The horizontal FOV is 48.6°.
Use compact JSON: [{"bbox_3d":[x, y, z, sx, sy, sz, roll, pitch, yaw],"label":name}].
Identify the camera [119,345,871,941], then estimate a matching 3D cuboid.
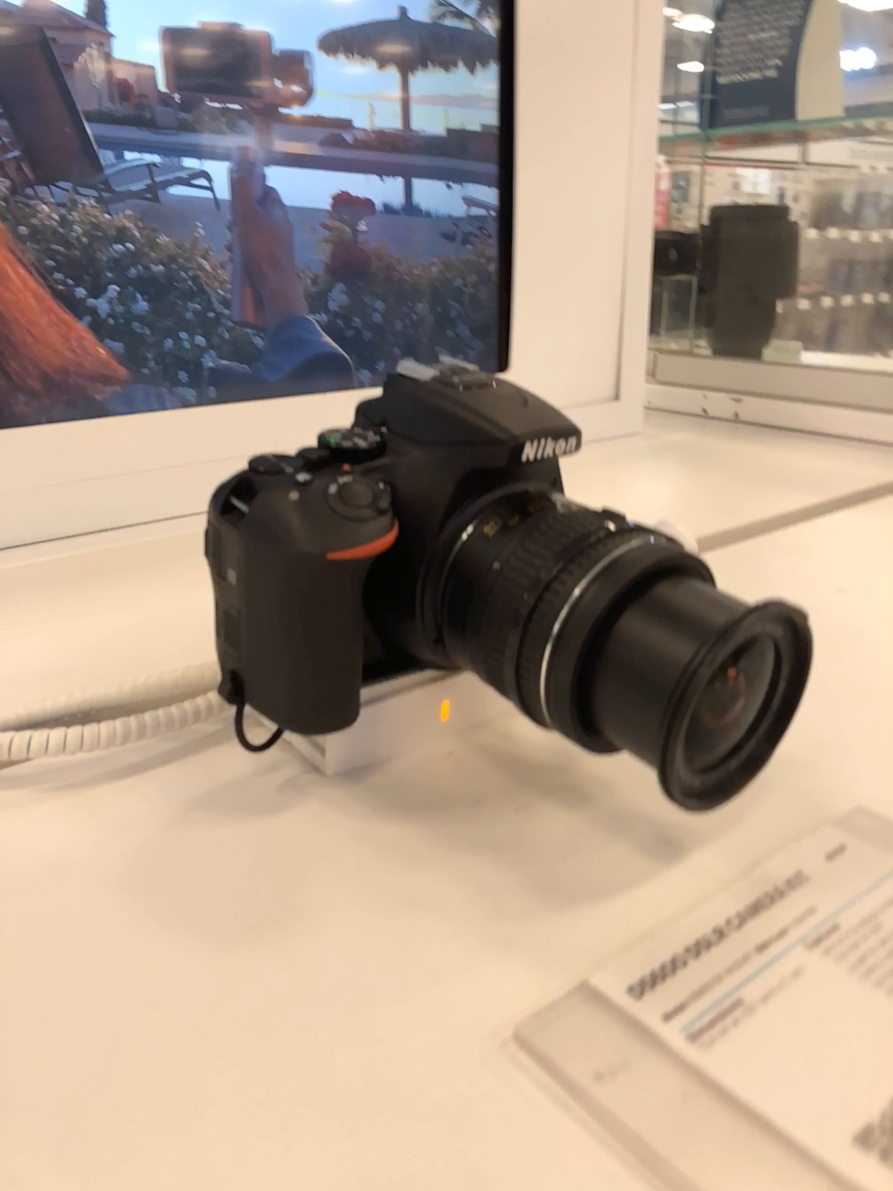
[{"bbox_3d":[0.001,-0.010,0.304,0.120,0.090,0.191,-17,32,-39],"label":"camera"}]
